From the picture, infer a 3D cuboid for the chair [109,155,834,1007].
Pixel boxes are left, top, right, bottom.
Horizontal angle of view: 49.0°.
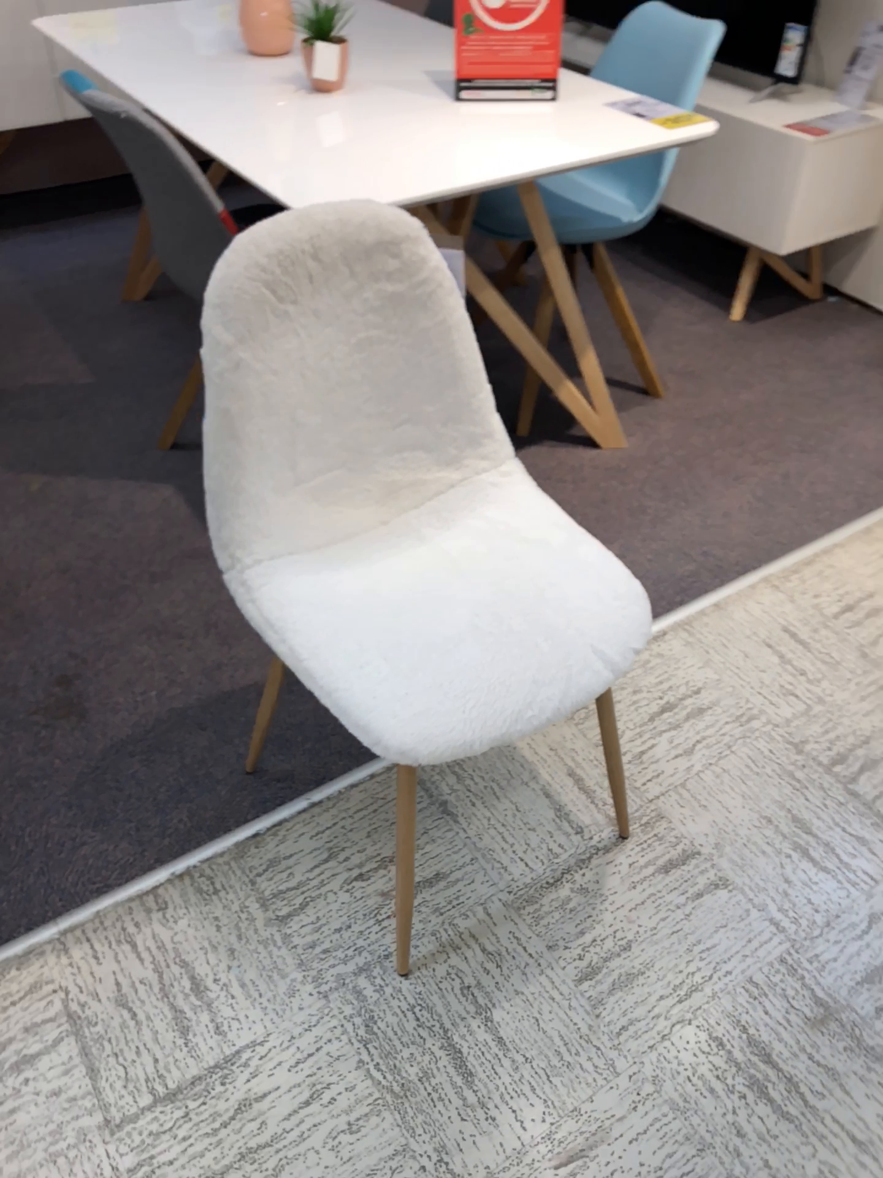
[{"bbox_3d":[0.009,-0.019,1.265,0.522,0.815,0.551,-25,47,-27],"label":"chair"}]
